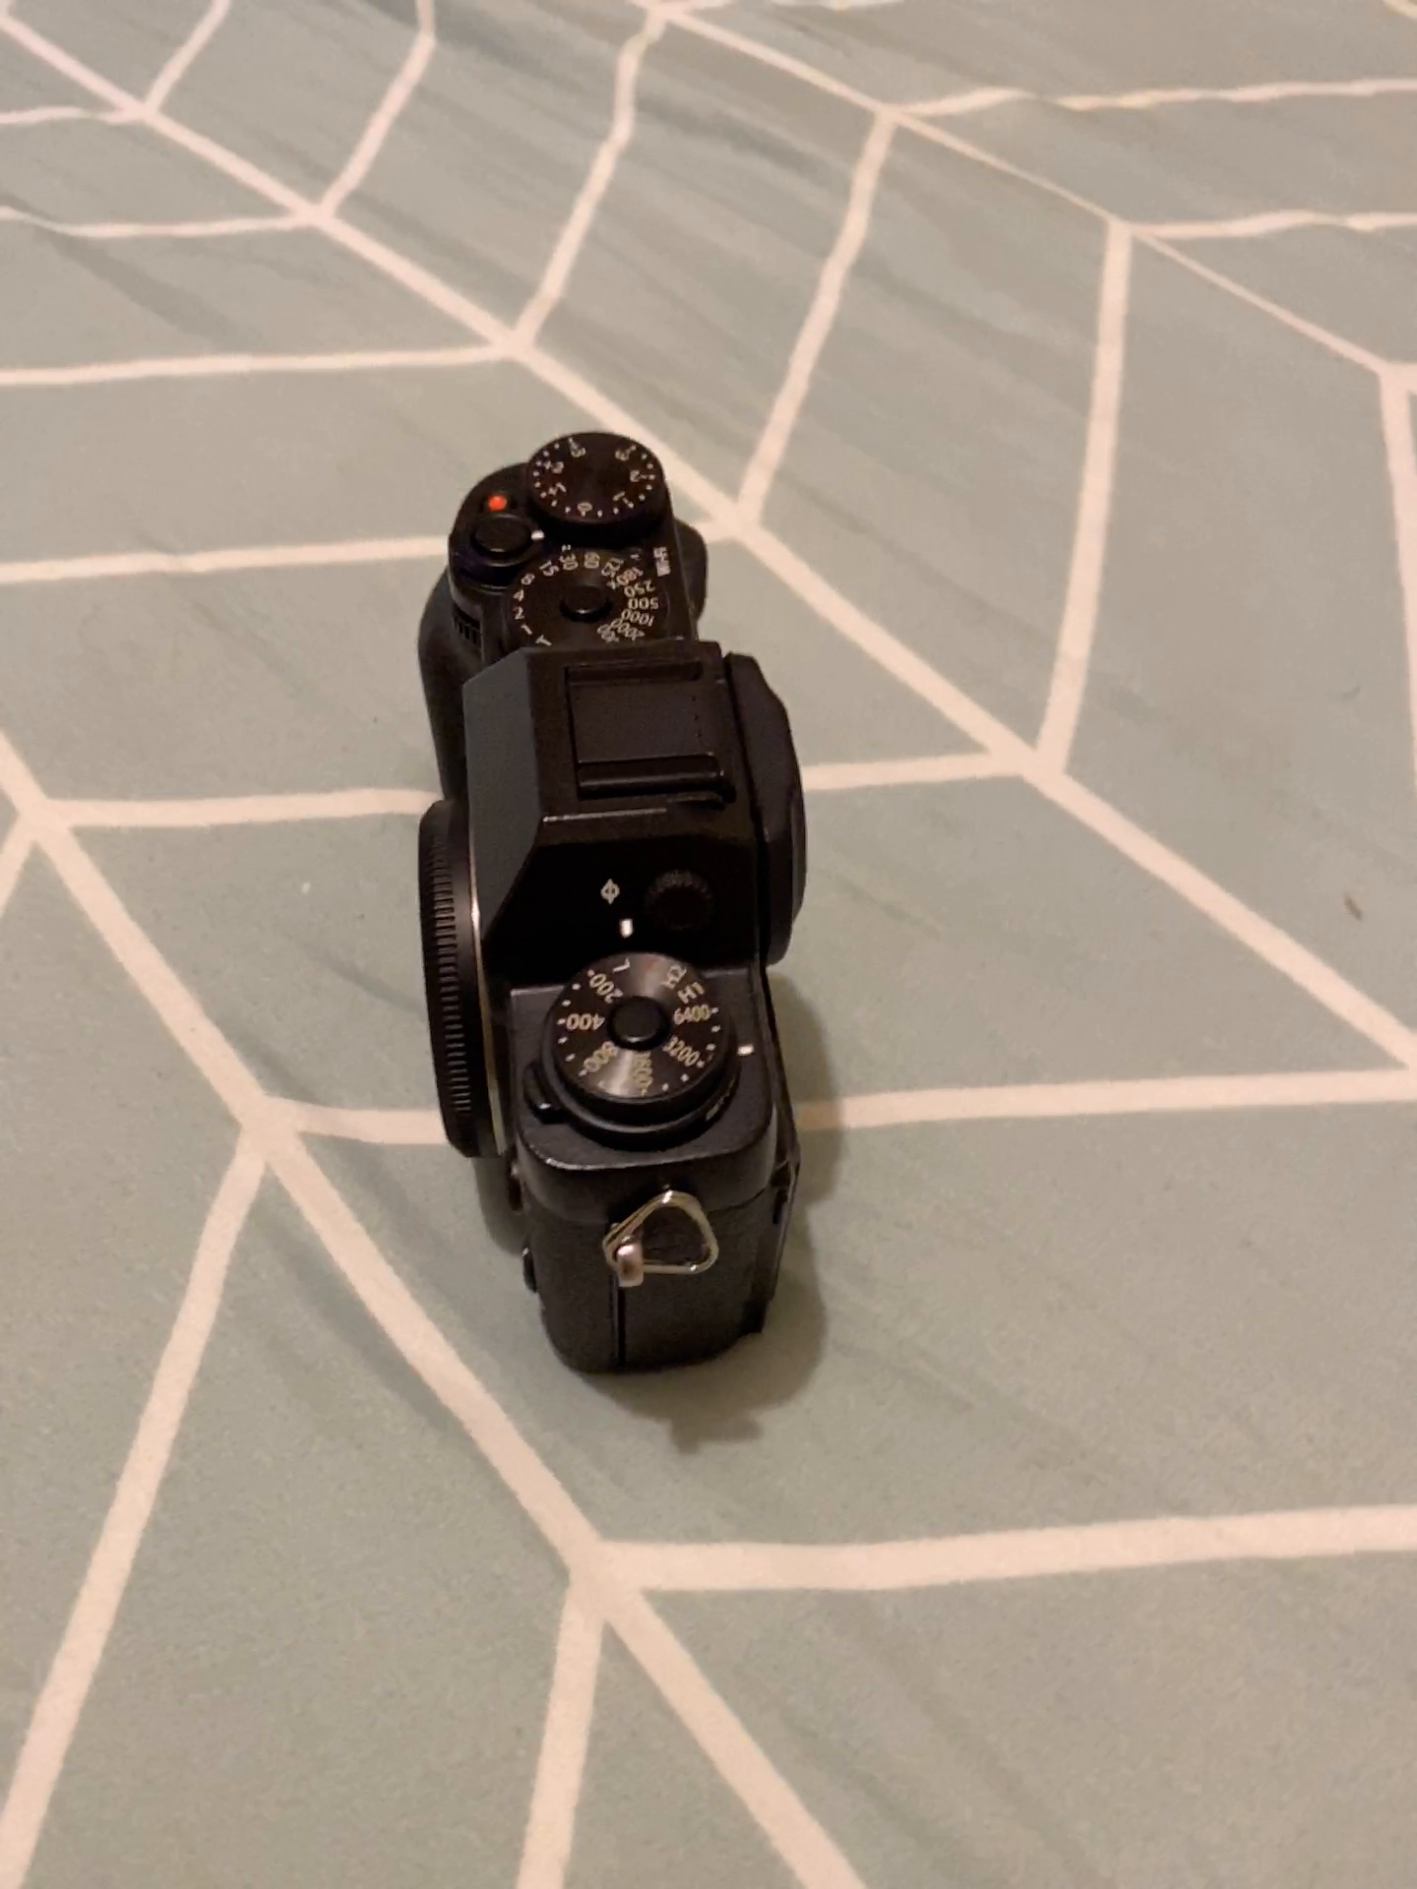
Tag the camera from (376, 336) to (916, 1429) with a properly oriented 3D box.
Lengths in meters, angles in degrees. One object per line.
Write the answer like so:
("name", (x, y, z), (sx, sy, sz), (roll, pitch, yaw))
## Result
("camera", (-0.016, -0.013, 0.225), (0.054, 0.082, 0.142), (-6, 56, -6))
